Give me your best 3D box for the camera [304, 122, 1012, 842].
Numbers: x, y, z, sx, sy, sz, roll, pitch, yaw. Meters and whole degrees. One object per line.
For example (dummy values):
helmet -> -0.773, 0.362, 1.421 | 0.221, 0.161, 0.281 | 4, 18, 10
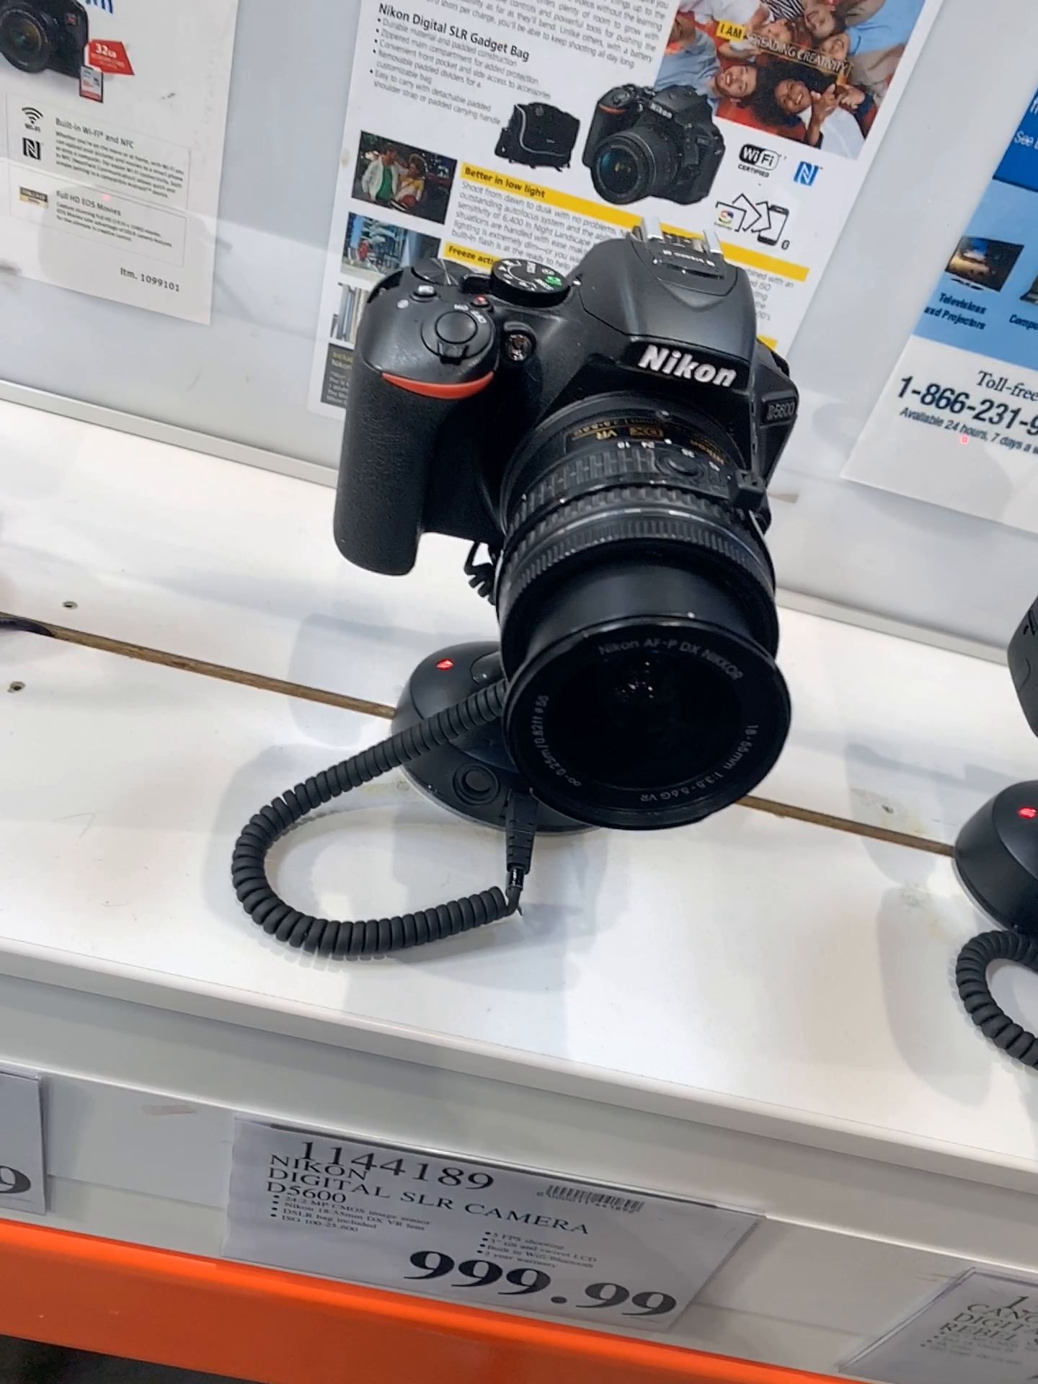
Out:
camera -> 0.021, -0.056, 0.257 | 0.111, 0.090, 0.141 | 12, 40, -8
